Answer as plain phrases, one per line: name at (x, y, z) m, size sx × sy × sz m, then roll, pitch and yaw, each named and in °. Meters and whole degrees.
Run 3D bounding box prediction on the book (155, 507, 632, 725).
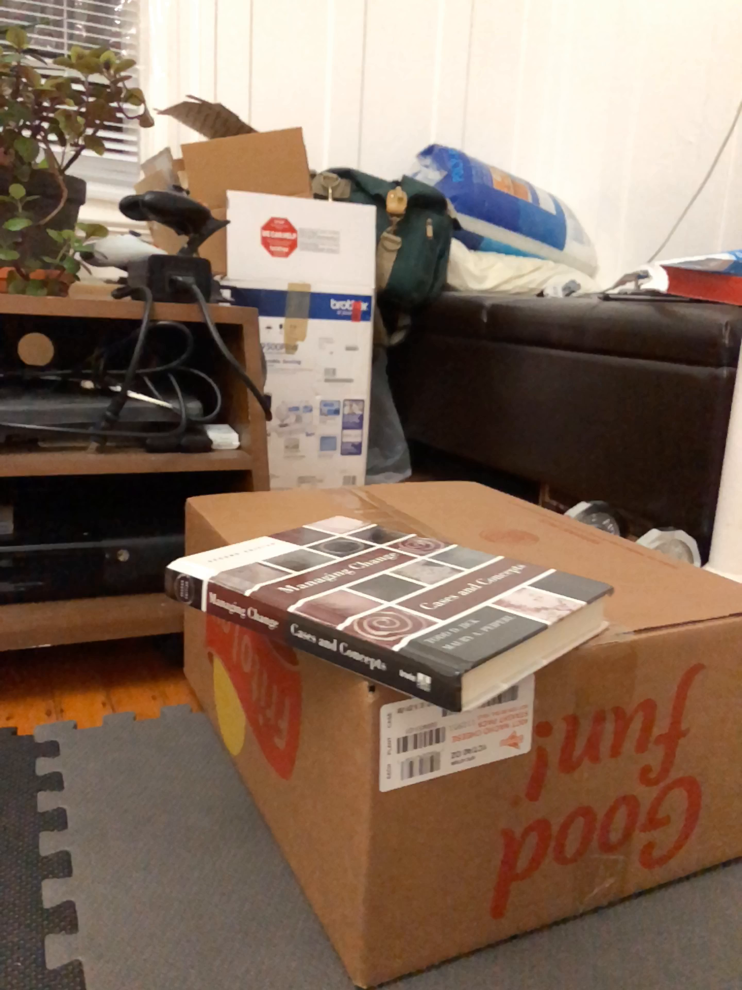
book at (0.011, 0.060, 0.530) m, size 0.250 × 0.030 × 0.180 m, roll 13°, pitch 16°, yaw 38°
